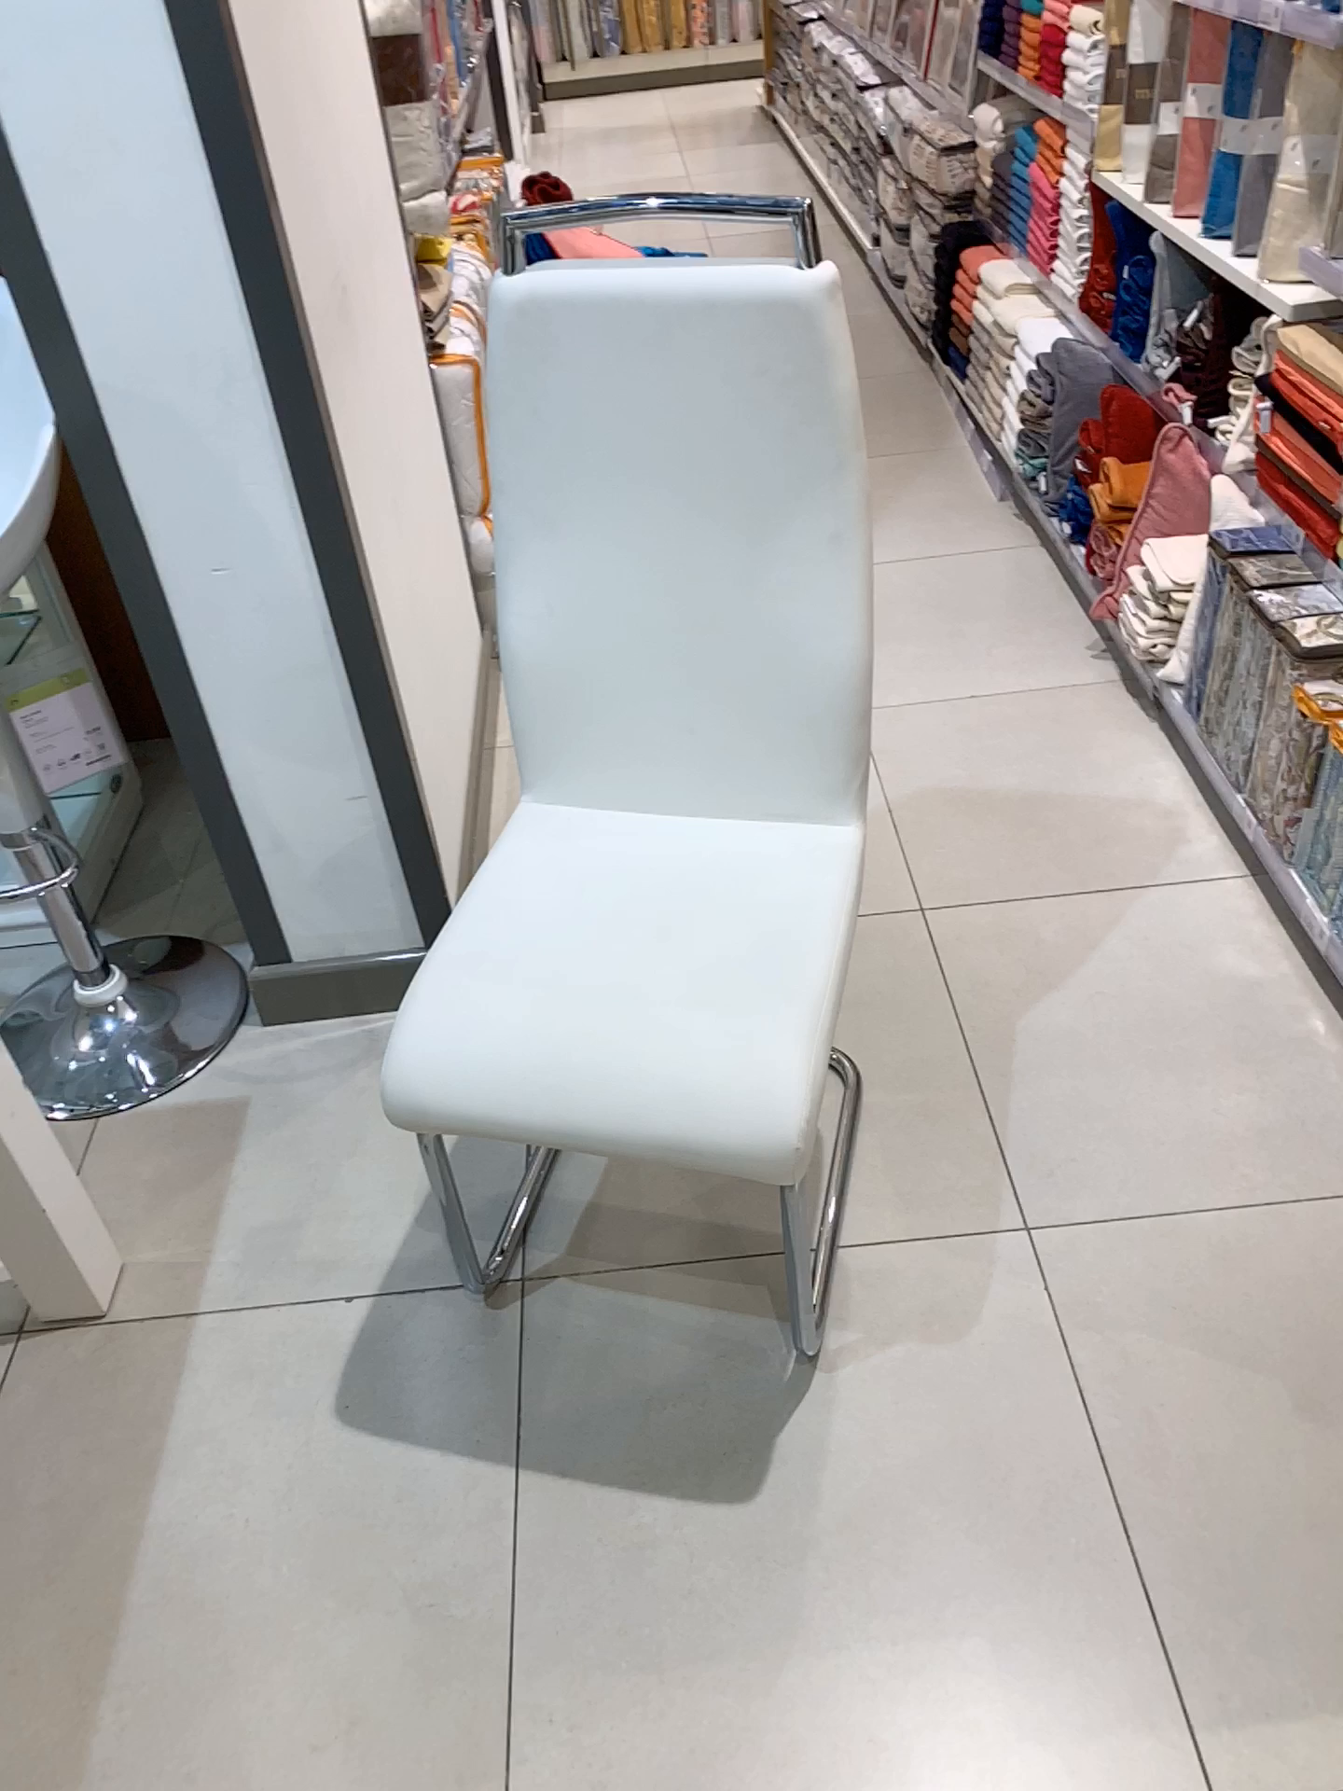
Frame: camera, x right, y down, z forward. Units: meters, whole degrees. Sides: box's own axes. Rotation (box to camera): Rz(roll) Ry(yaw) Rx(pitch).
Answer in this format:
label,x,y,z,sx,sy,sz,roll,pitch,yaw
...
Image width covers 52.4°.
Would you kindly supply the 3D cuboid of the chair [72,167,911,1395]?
label,x,y,z,sx,sy,sz,roll,pitch,yaw
chair,-0.048,-0.076,1.336,0.480,1.025,0.522,5,39,15
